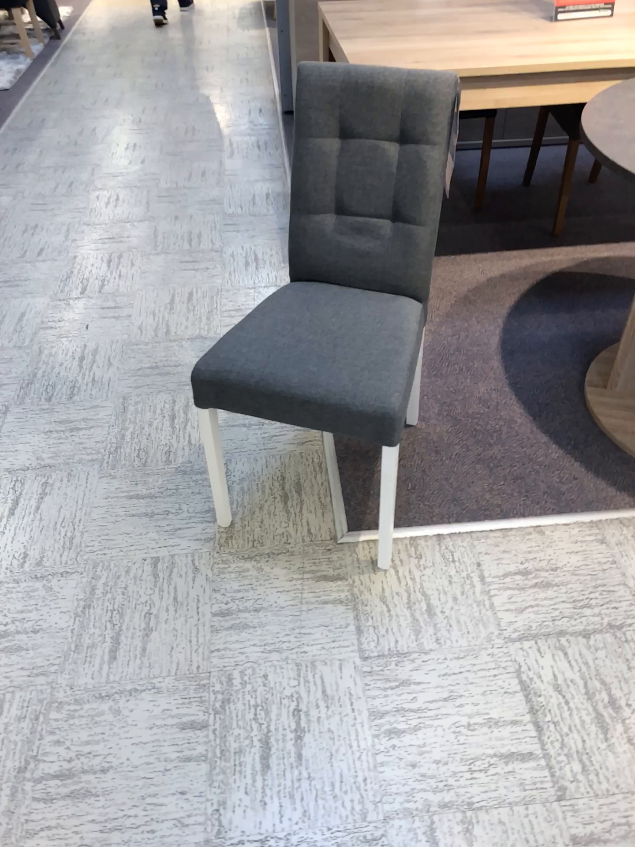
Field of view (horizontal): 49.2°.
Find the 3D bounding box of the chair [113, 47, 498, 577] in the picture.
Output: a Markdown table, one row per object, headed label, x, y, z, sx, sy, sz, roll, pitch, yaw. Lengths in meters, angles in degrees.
| label | x | y | z | sx | sy | sz | roll | pitch | yaw |
| --- | --- | --- | --- | --- | --- | --- | --- | --- | --- |
| chair | 0.030 | -0.228 | 1.418 | 0.460 | 0.825 | 0.584 | 13 | 43 | 16 |
